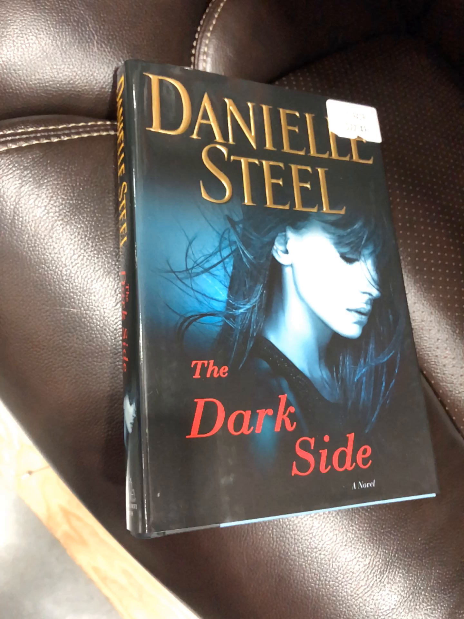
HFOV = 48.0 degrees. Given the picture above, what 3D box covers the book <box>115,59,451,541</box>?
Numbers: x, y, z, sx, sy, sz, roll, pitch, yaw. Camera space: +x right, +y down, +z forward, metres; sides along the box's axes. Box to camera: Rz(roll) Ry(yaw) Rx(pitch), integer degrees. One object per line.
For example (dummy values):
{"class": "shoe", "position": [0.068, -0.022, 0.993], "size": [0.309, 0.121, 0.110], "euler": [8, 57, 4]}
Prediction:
{"class": "book", "position": [0.024, -0.011, 0.297], "size": [0.168, 0.040, 0.237], "euler": [1, 75, -22]}
